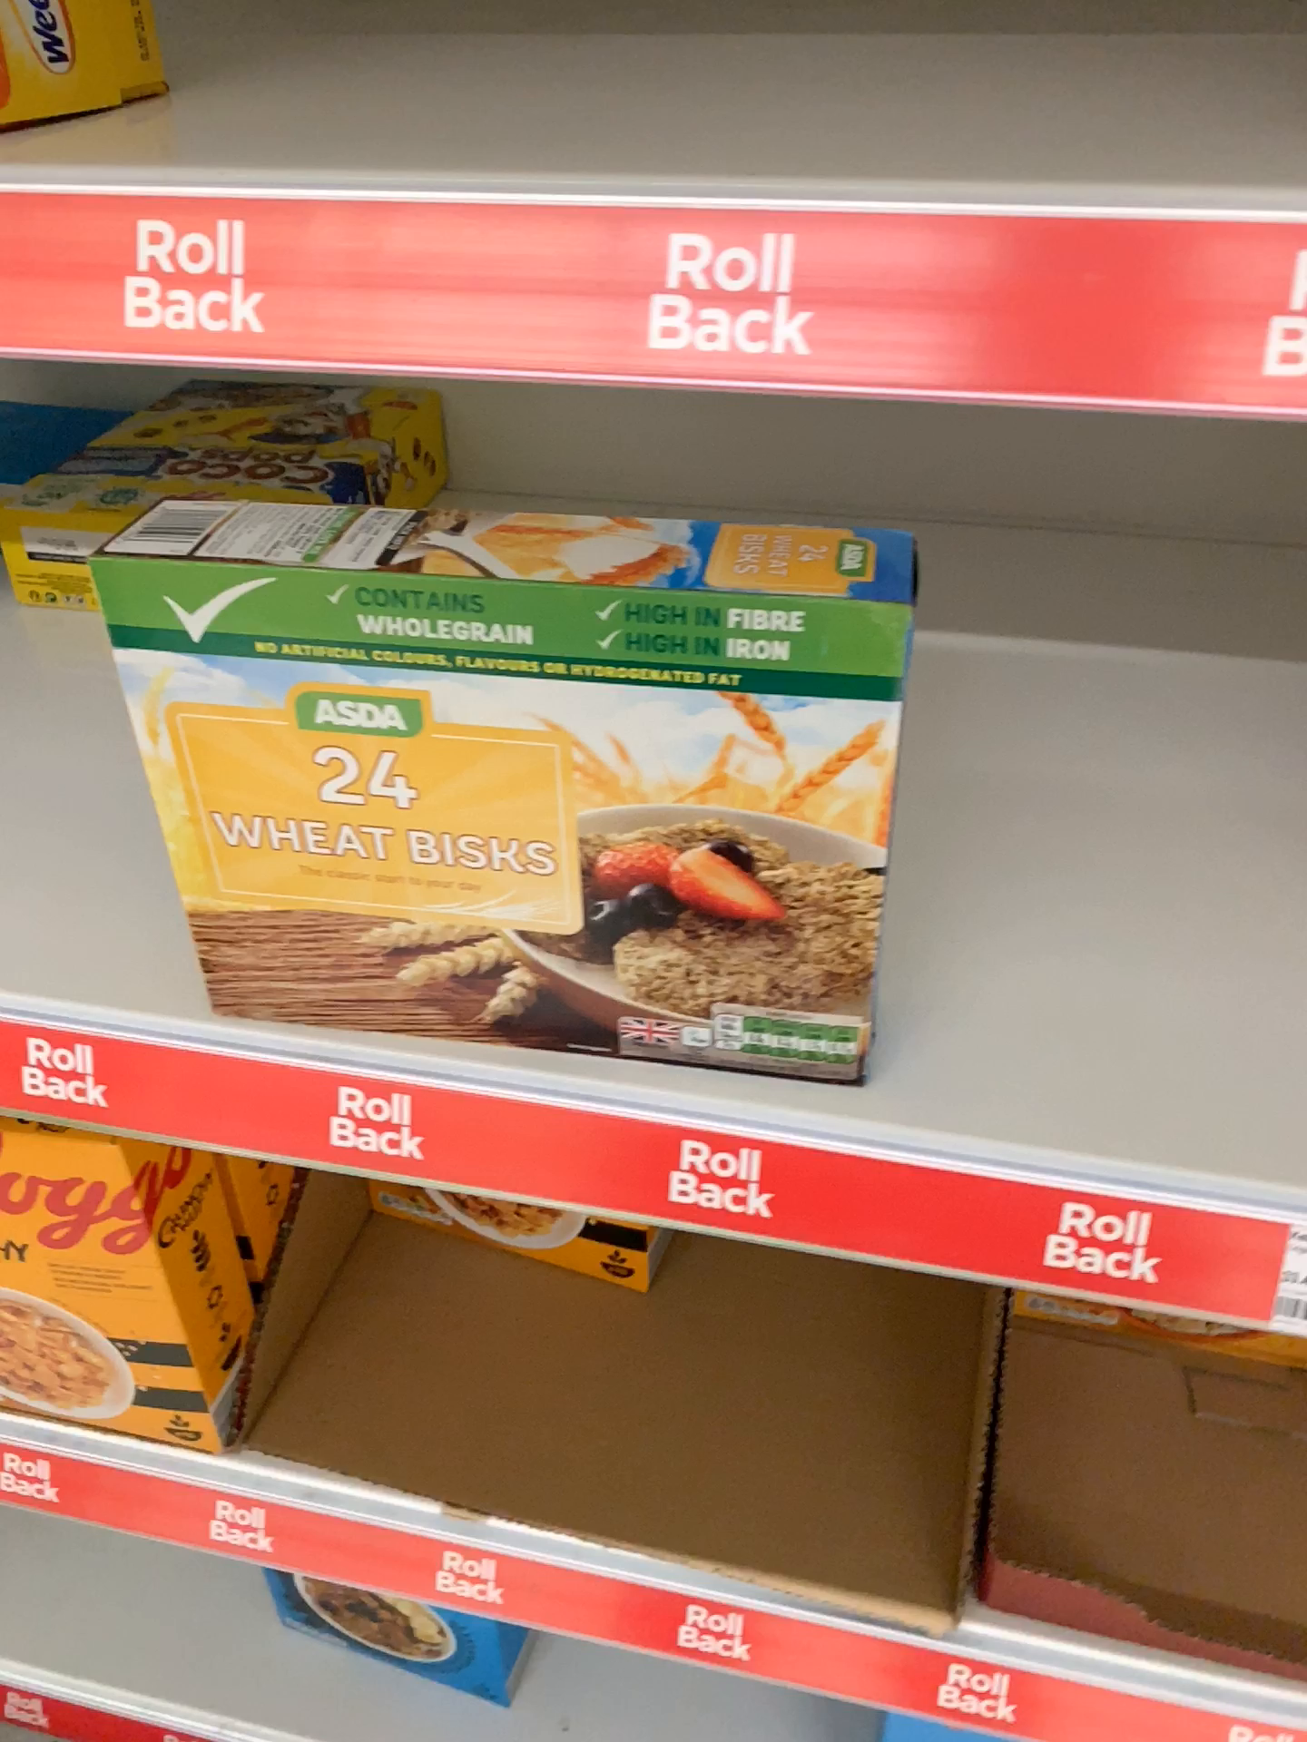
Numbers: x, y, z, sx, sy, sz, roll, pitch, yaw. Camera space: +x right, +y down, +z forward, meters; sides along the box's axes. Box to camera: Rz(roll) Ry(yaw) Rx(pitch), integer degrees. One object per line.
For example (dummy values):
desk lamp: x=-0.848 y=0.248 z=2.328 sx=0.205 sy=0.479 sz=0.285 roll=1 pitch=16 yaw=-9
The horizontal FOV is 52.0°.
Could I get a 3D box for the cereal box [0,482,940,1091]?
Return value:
cereal box: x=-0.052 y=-0.026 z=0.443 sx=0.270 sy=0.178 sz=0.061 roll=5 pitch=37 yaw=8
